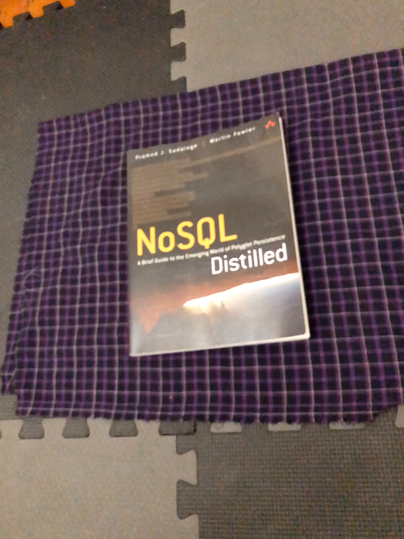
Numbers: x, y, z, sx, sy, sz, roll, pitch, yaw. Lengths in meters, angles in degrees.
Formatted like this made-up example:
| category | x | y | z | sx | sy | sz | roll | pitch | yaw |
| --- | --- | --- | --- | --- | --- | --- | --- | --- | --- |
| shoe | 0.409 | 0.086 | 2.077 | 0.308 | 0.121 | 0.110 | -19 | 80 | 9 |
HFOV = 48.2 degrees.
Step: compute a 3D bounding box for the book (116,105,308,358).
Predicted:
| category | x | y | z | sx | sy | sz | roll | pitch | yaw |
| --- | --- | --- | --- | --- | --- | --- | --- | --- | --- |
| book | -0.002 | -0.042 | 0.482 | 0.190 | 0.020 | 0.250 | -9 | 70 | 16 |
